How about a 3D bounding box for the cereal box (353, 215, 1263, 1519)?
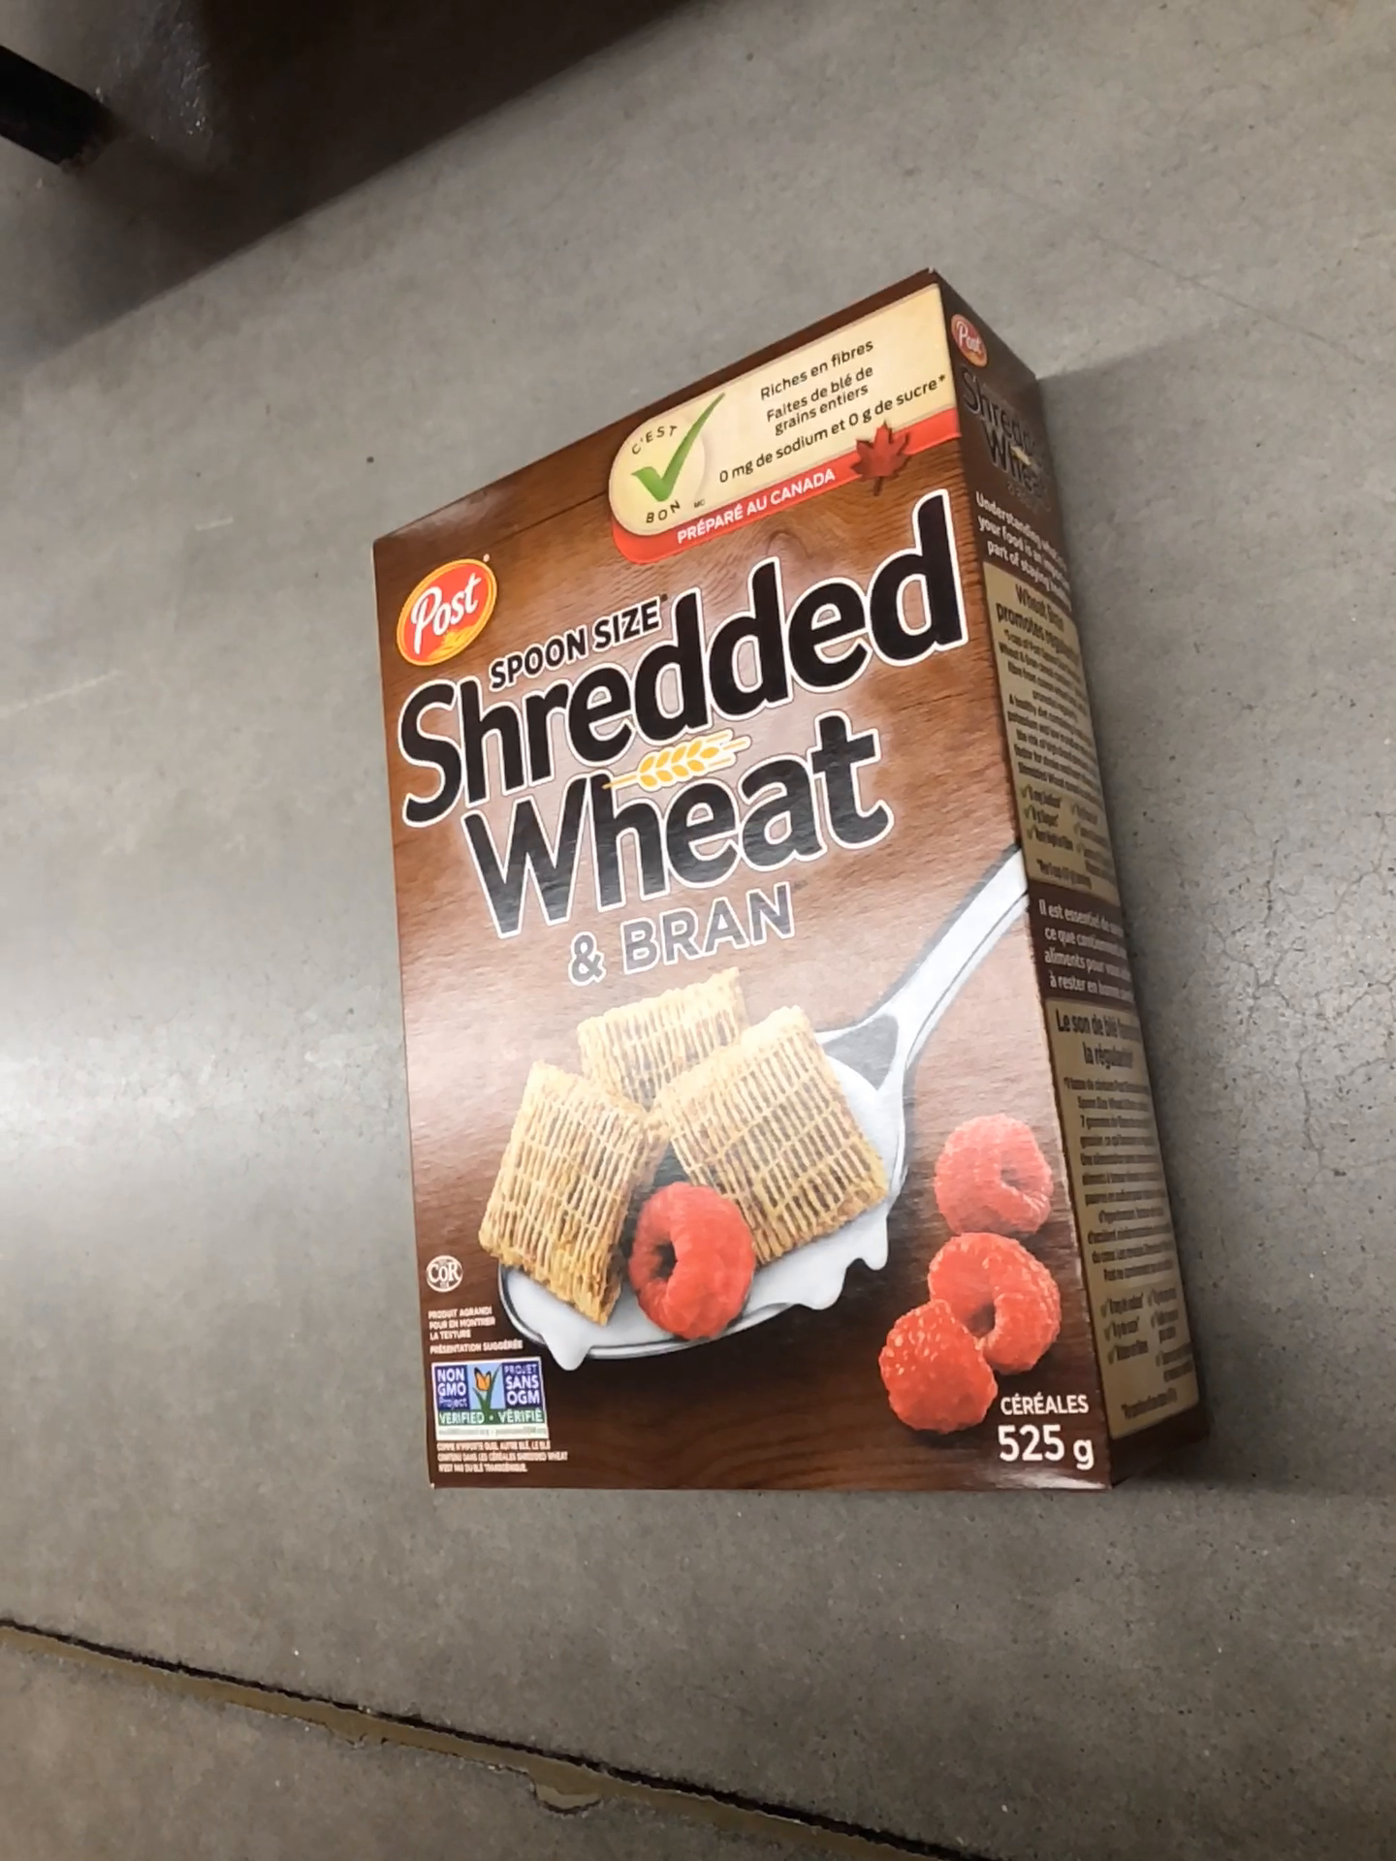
[{"bbox_3d":[0.012,-0.002,0.404,0.201,0.070,0.280,-14,76,35],"label":"cereal box"}]
